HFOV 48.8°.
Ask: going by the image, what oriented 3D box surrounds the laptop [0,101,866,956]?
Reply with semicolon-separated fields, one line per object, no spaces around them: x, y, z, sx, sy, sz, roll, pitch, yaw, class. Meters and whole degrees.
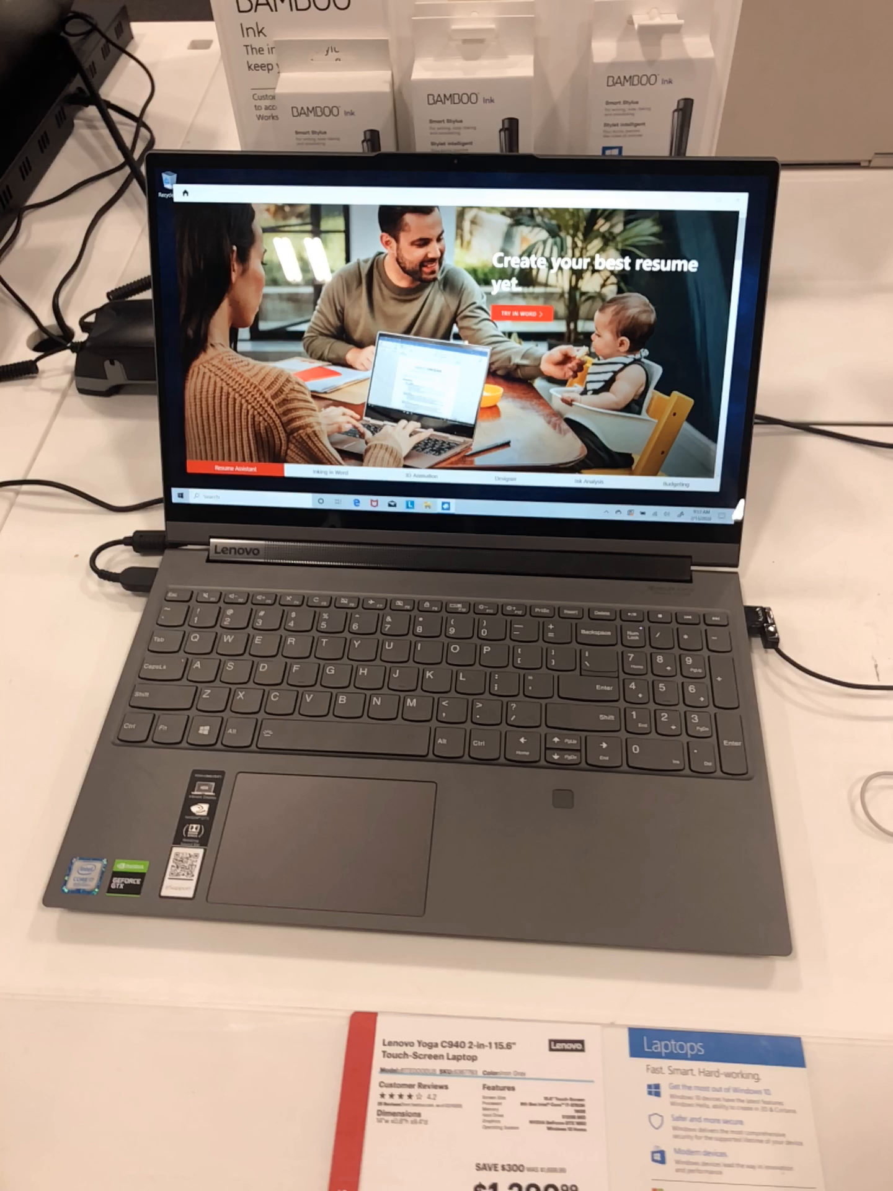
-0.013;-0.053;0.505;0.336;0.169;0.375;2;57;4;laptop
